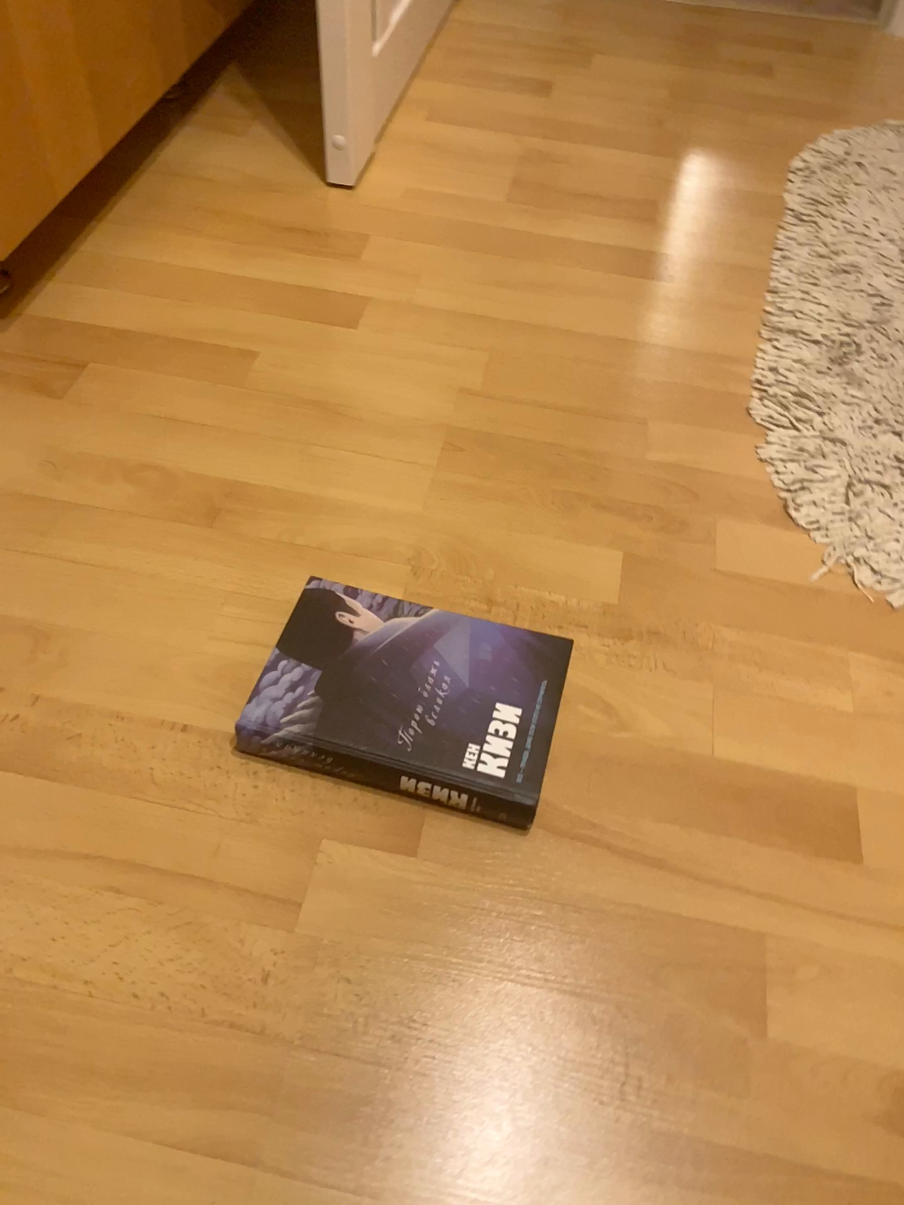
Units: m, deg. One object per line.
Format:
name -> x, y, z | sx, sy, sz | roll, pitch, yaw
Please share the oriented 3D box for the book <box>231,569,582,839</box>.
book -> -0.029, 0.071, 0.698 | 0.224, 0.050, 0.151 | 14, 52, 8
